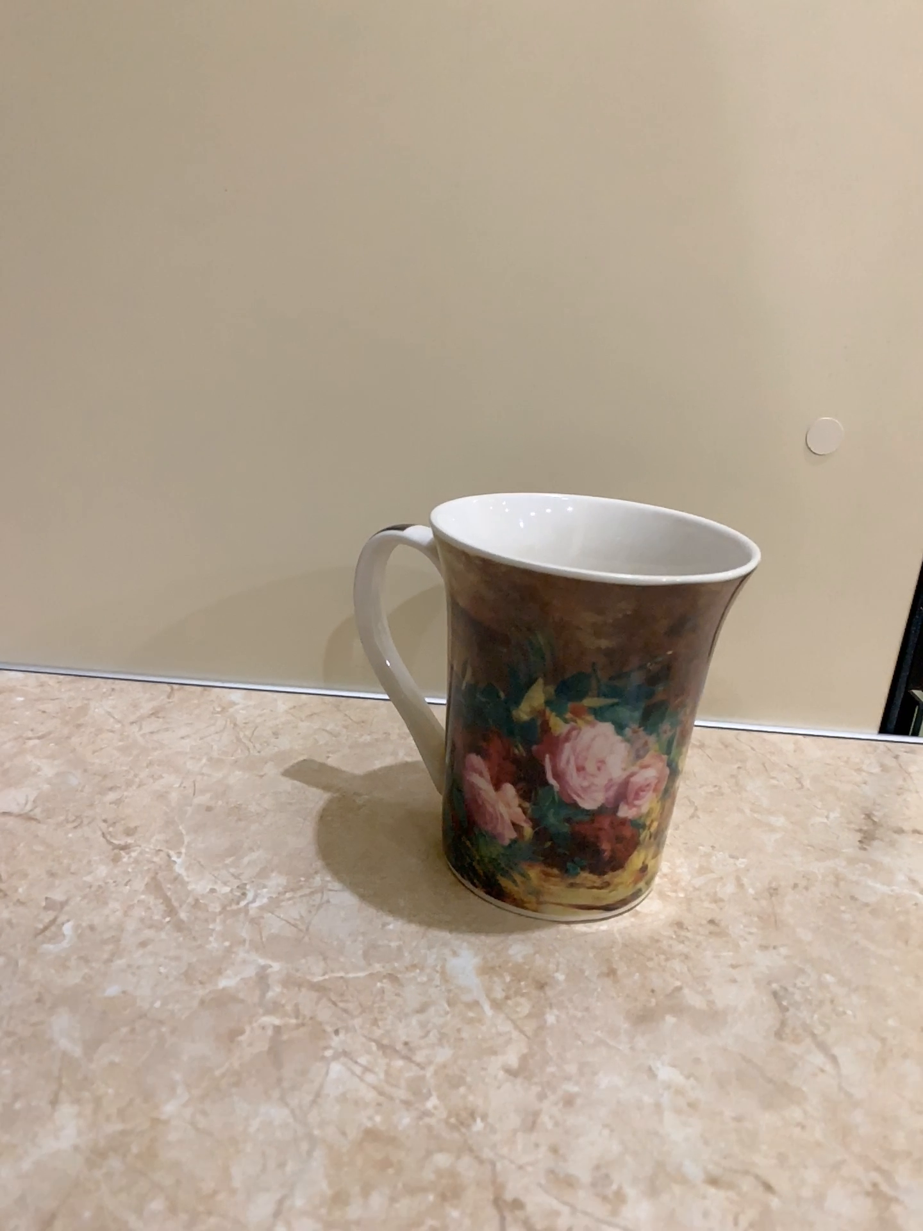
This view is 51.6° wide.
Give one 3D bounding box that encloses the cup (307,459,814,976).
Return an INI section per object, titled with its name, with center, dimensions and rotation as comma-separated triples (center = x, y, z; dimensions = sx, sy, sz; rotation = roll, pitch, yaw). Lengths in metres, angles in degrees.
[cup]
center = 0.026, 0.017, 0.278
dimensions = 0.101, 0.096, 0.094
rotation = 4, 20, -2
